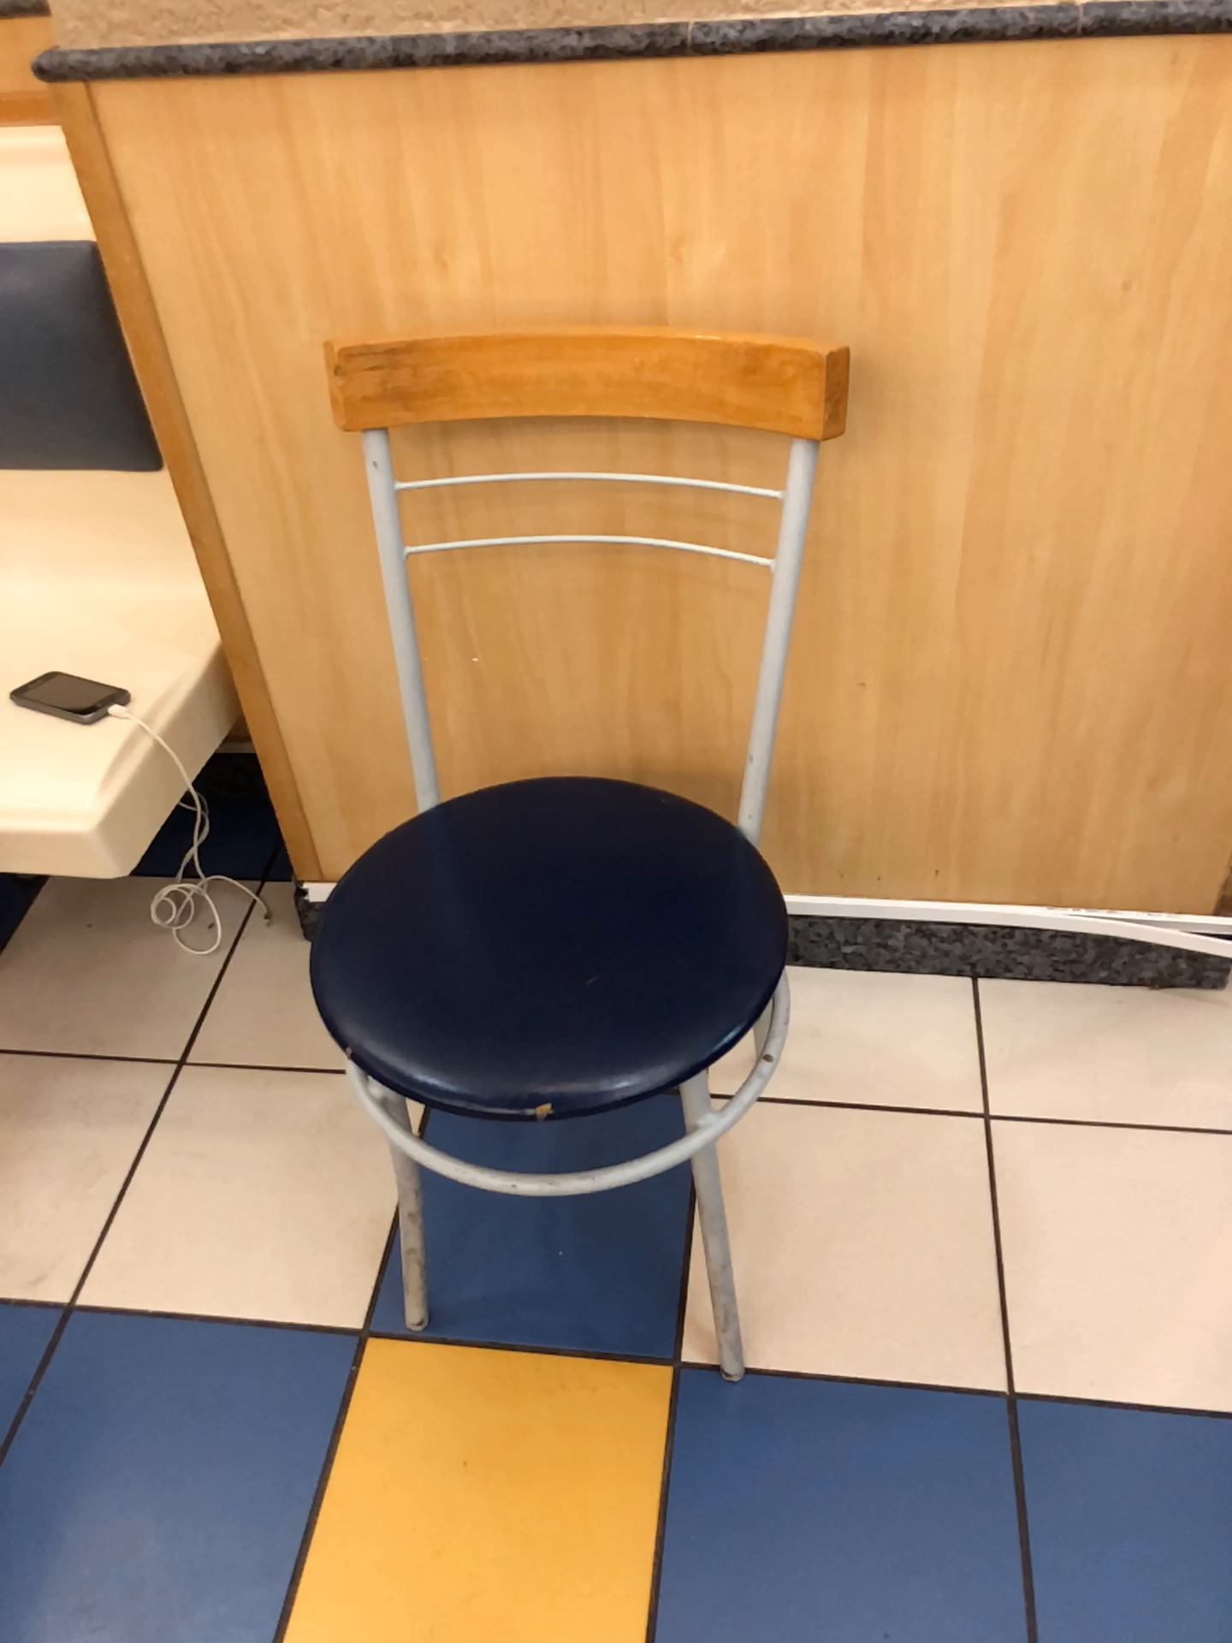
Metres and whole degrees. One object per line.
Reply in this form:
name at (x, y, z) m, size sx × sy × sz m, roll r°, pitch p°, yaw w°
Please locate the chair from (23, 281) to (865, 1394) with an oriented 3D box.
chair at (-0.037, 0.024, 1.132) m, size 0.440 × 0.745 × 0.524 m, roll 3°, pitch 42°, yaw 10°
